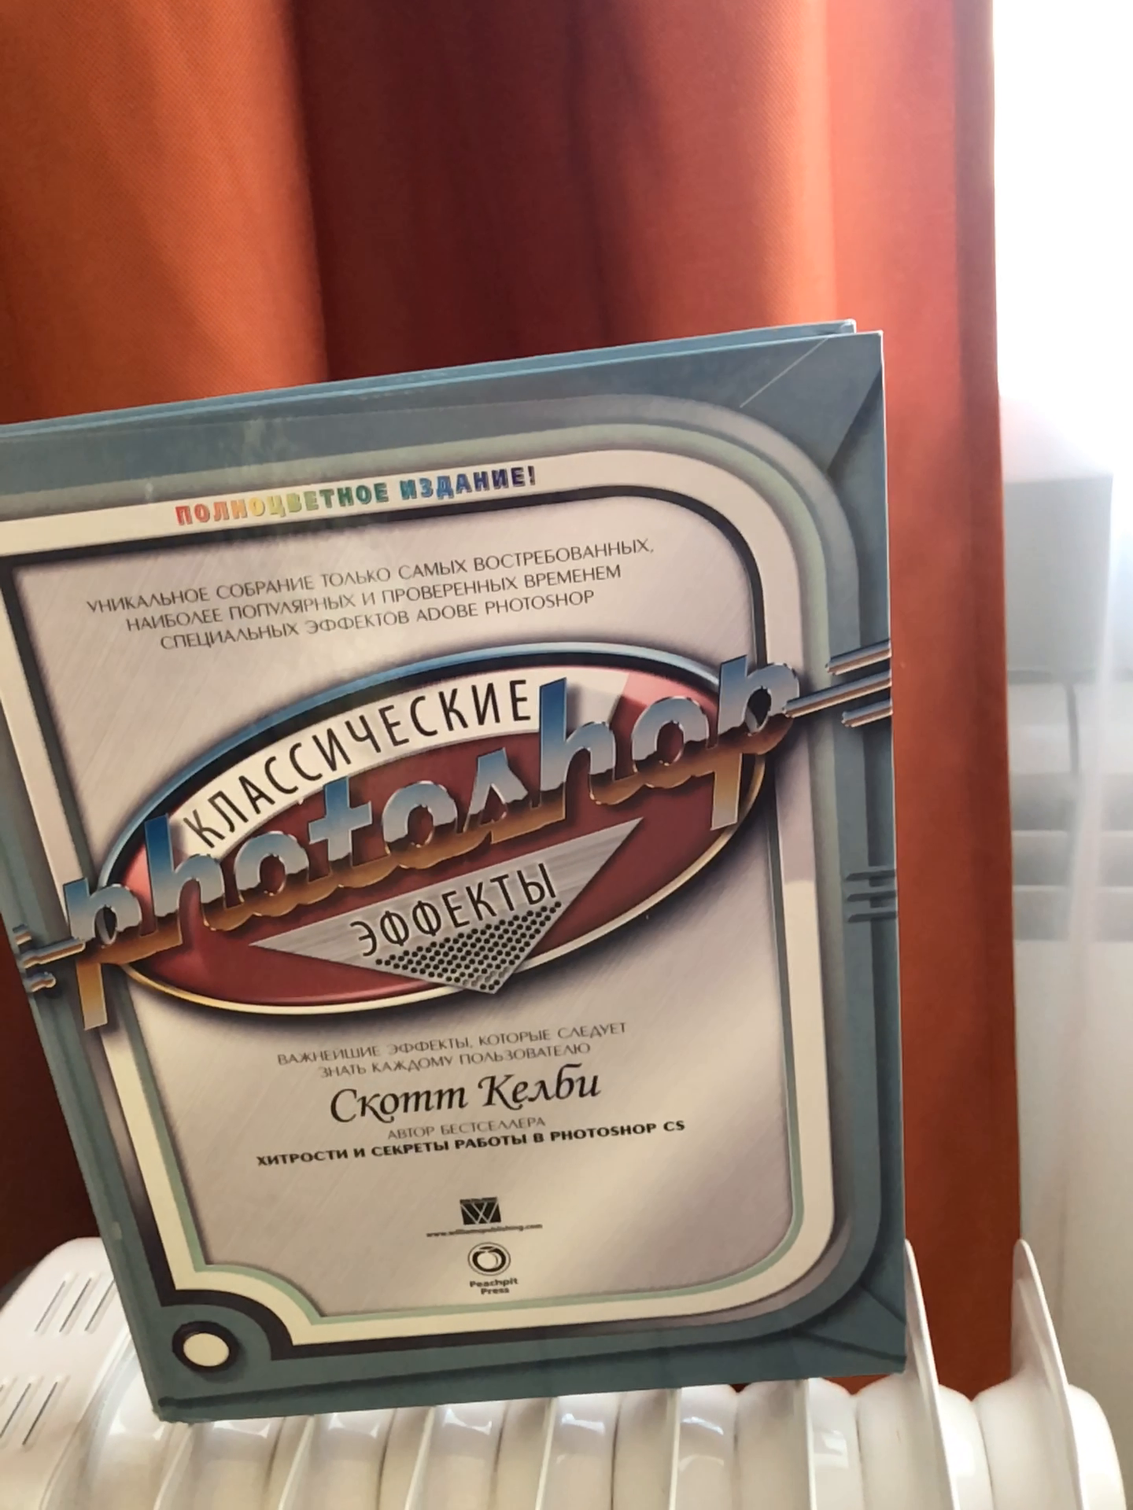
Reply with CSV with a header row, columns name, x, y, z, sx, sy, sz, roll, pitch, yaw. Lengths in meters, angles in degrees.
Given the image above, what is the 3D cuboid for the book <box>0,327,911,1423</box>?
name,x,y,z,sx,sy,sz,roll,pitch,yaw
book,-0.030,0.047,0.326,0.225,0.276,0.040,-6,21,3
